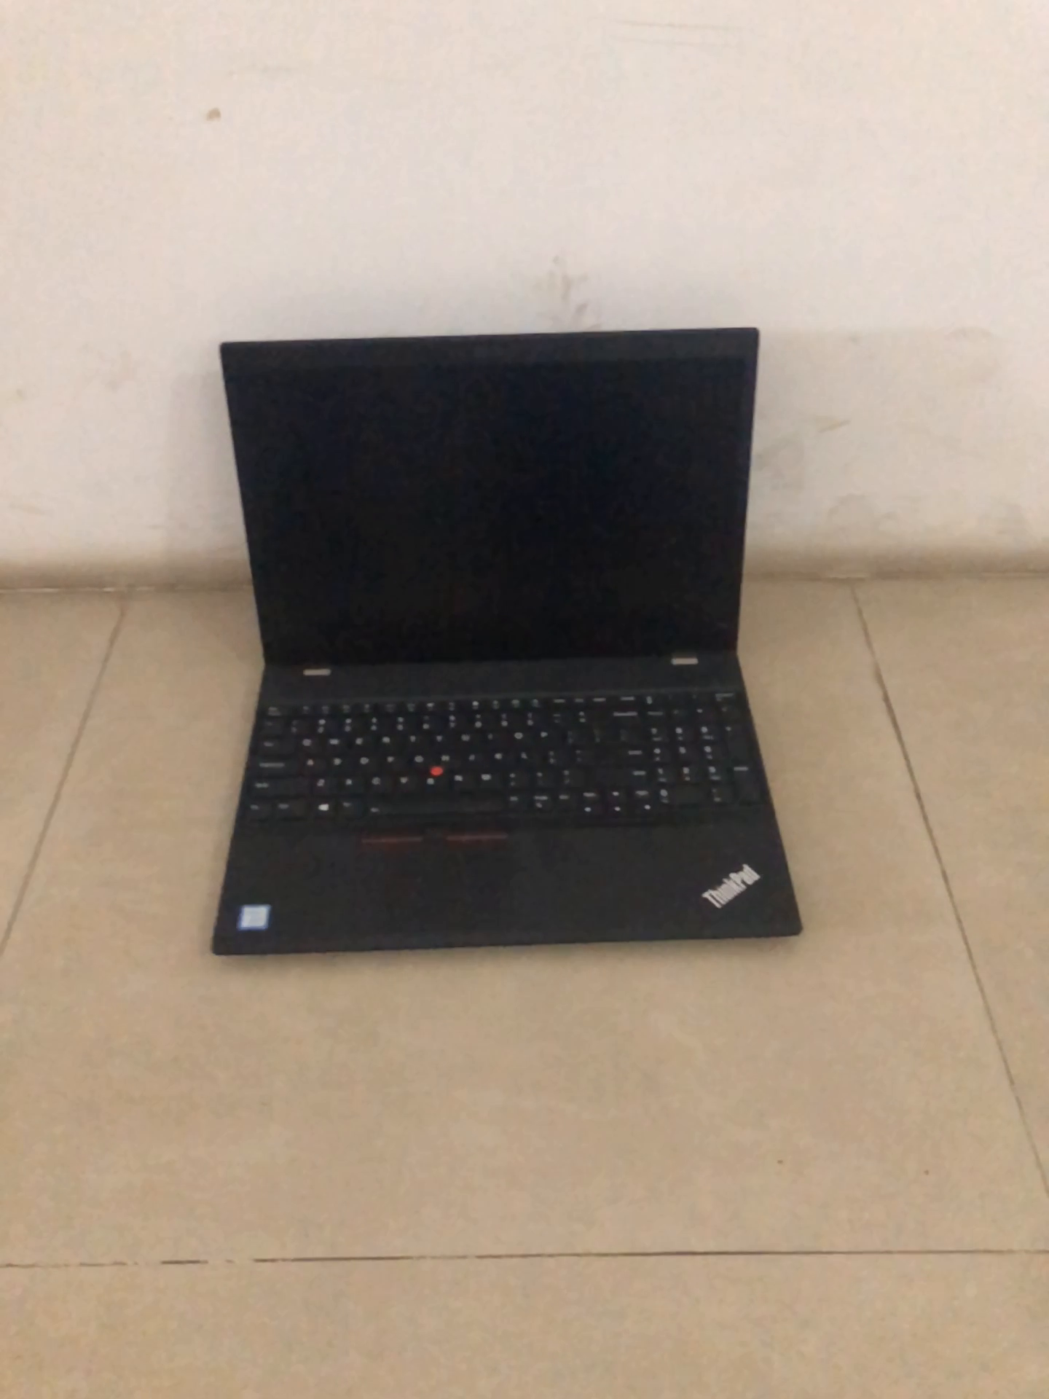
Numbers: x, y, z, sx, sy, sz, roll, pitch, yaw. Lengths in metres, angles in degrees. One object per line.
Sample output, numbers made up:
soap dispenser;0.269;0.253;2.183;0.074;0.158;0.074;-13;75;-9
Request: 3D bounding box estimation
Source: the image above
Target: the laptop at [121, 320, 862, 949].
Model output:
laptop;-0.019;-0.052;0.734;0.351;0.215;0.329;-2;46;-1
